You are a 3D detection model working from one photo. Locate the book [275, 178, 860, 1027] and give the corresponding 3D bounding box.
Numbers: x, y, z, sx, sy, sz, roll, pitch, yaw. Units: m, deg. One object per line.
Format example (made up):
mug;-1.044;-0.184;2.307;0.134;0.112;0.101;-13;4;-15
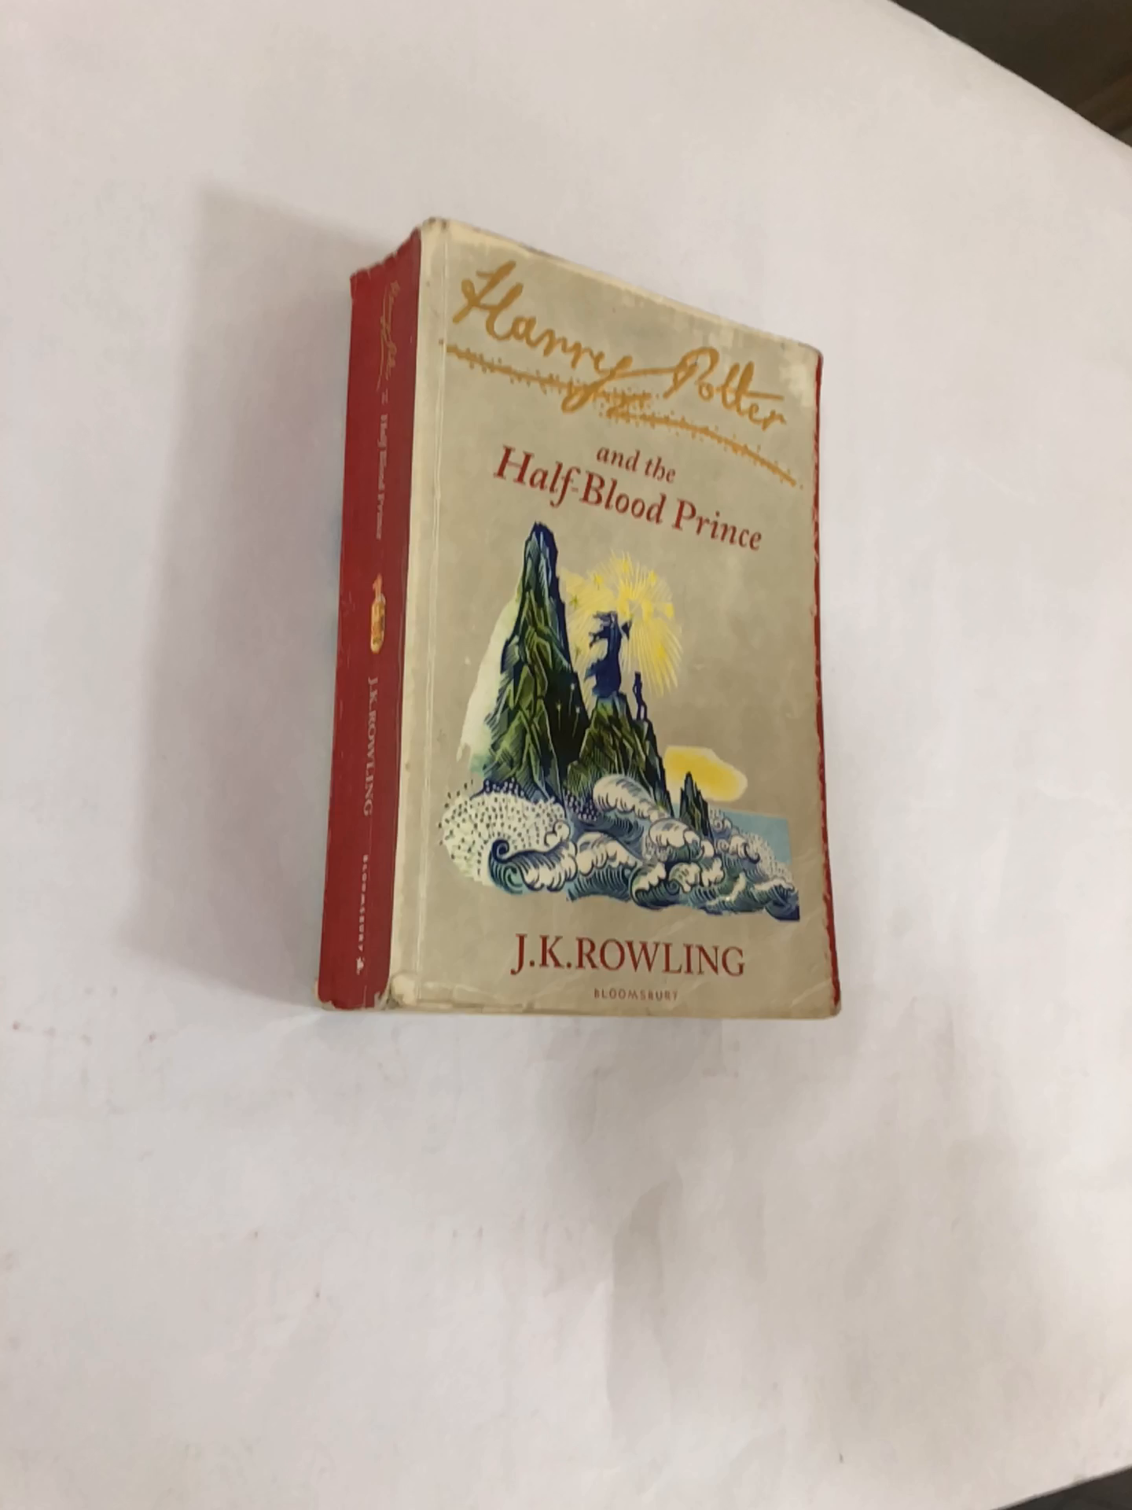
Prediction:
book;0.004;-0.026;0.312;0.130;0.050;0.181;7;76;-32
